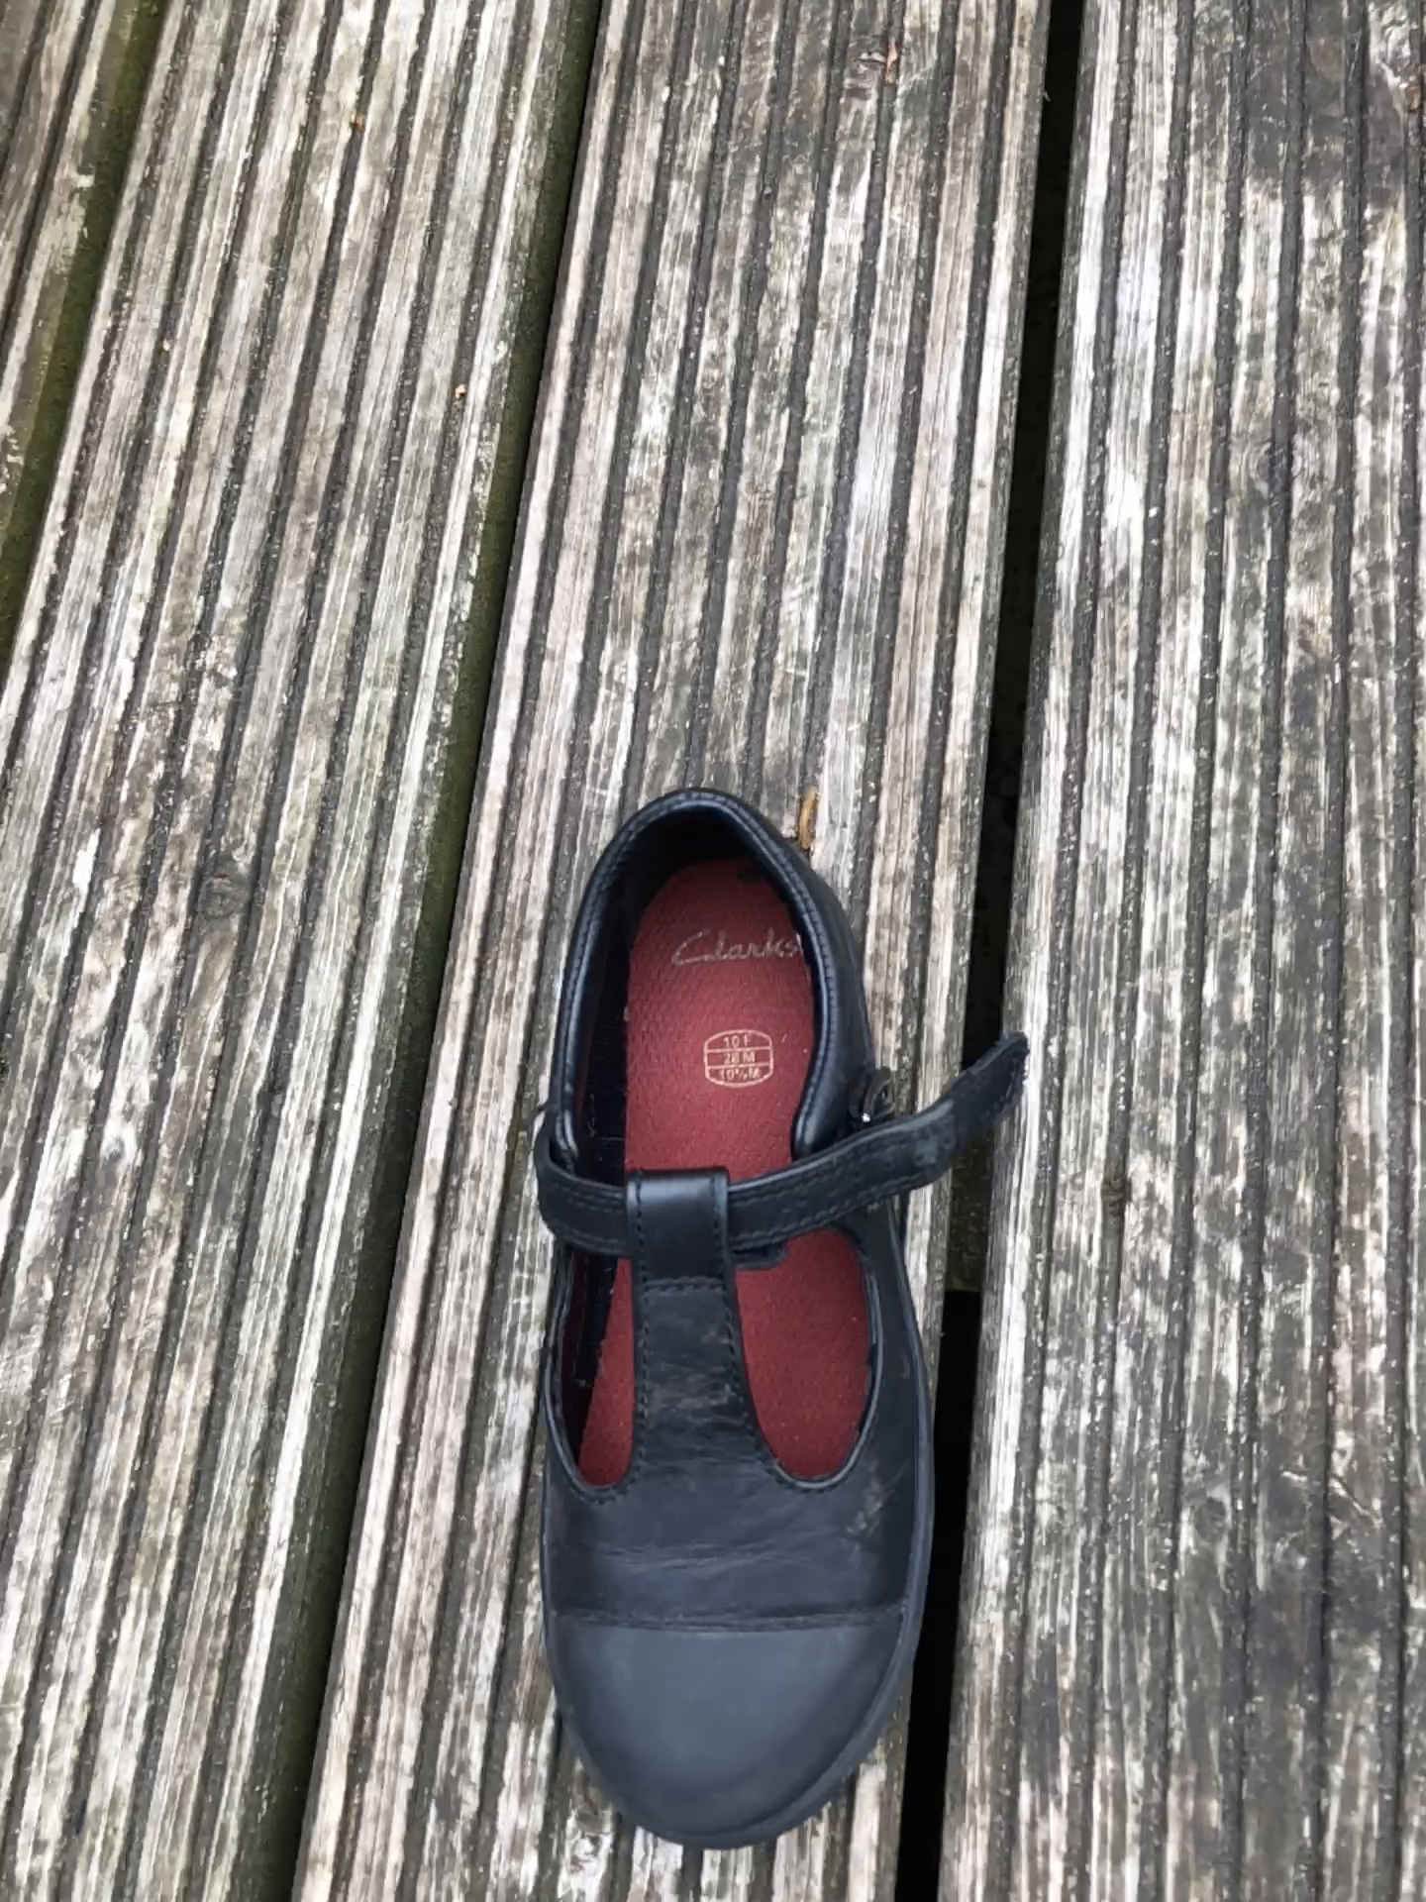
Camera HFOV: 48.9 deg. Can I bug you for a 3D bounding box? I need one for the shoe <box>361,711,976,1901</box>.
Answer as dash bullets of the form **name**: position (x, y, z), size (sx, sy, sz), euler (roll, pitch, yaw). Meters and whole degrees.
- **shoe**: position (0.002, 0.063, 0.286), size (0.080, 0.080, 0.193), euler (3, 76, 10)
